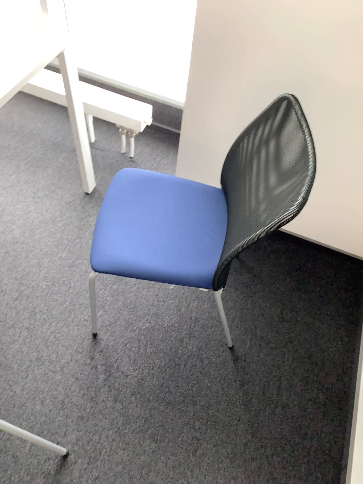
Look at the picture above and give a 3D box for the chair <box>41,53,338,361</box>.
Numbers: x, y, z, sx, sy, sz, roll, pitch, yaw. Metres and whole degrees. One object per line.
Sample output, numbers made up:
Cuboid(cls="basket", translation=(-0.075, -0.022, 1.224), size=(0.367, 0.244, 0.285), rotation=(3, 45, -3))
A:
Cuboid(cls="chair", translation=(-0.008, -0.019, 1.253), size=(0.590, 0.897, 0.532), rotation=(6, 57, -3))
